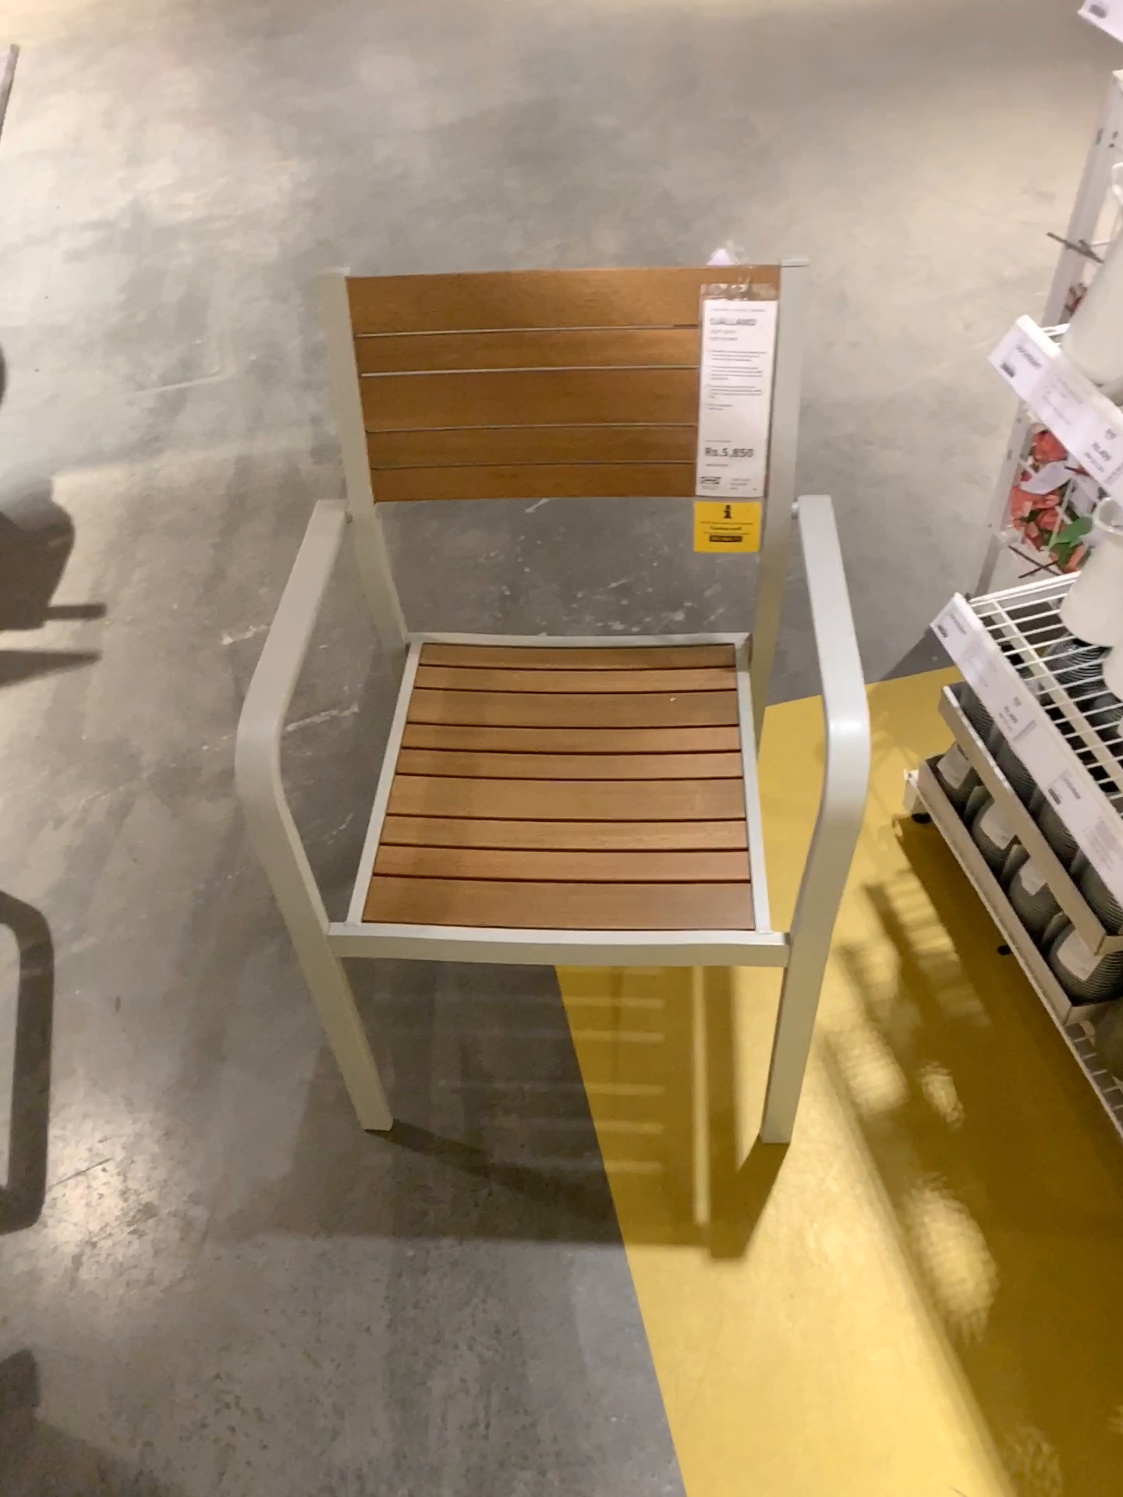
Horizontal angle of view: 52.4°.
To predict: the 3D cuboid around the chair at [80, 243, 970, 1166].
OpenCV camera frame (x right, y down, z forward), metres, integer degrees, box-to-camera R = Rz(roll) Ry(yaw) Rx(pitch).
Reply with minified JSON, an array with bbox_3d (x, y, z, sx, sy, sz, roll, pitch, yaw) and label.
[{"bbox_3d":[0.013,-0.015,1.183,0.560,0.727,0.602,1,50,6],"label":"chair"}]
